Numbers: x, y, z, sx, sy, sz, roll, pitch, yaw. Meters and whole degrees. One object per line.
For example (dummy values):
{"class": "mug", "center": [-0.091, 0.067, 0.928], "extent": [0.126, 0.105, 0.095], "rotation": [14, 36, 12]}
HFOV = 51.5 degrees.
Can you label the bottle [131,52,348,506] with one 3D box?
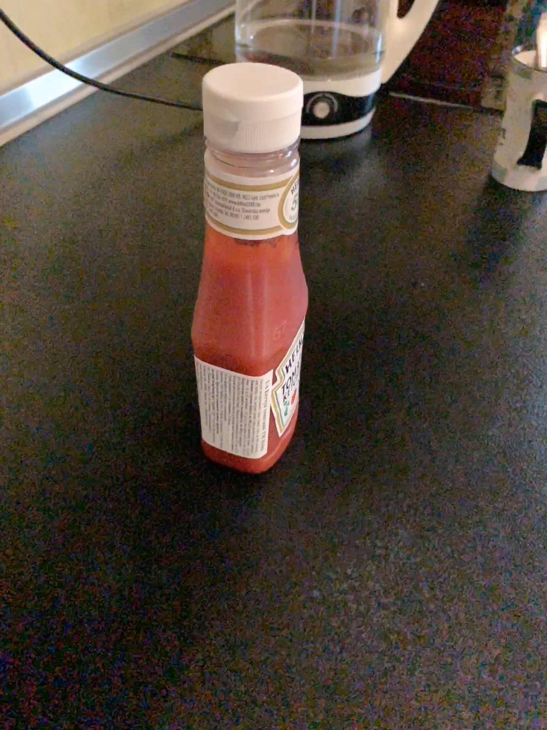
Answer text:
{"class": "bottle", "center": [-0.011, -0.023, 0.255], "extent": [0.050, 0.189, 0.070], "rotation": [15, 46, 11]}
